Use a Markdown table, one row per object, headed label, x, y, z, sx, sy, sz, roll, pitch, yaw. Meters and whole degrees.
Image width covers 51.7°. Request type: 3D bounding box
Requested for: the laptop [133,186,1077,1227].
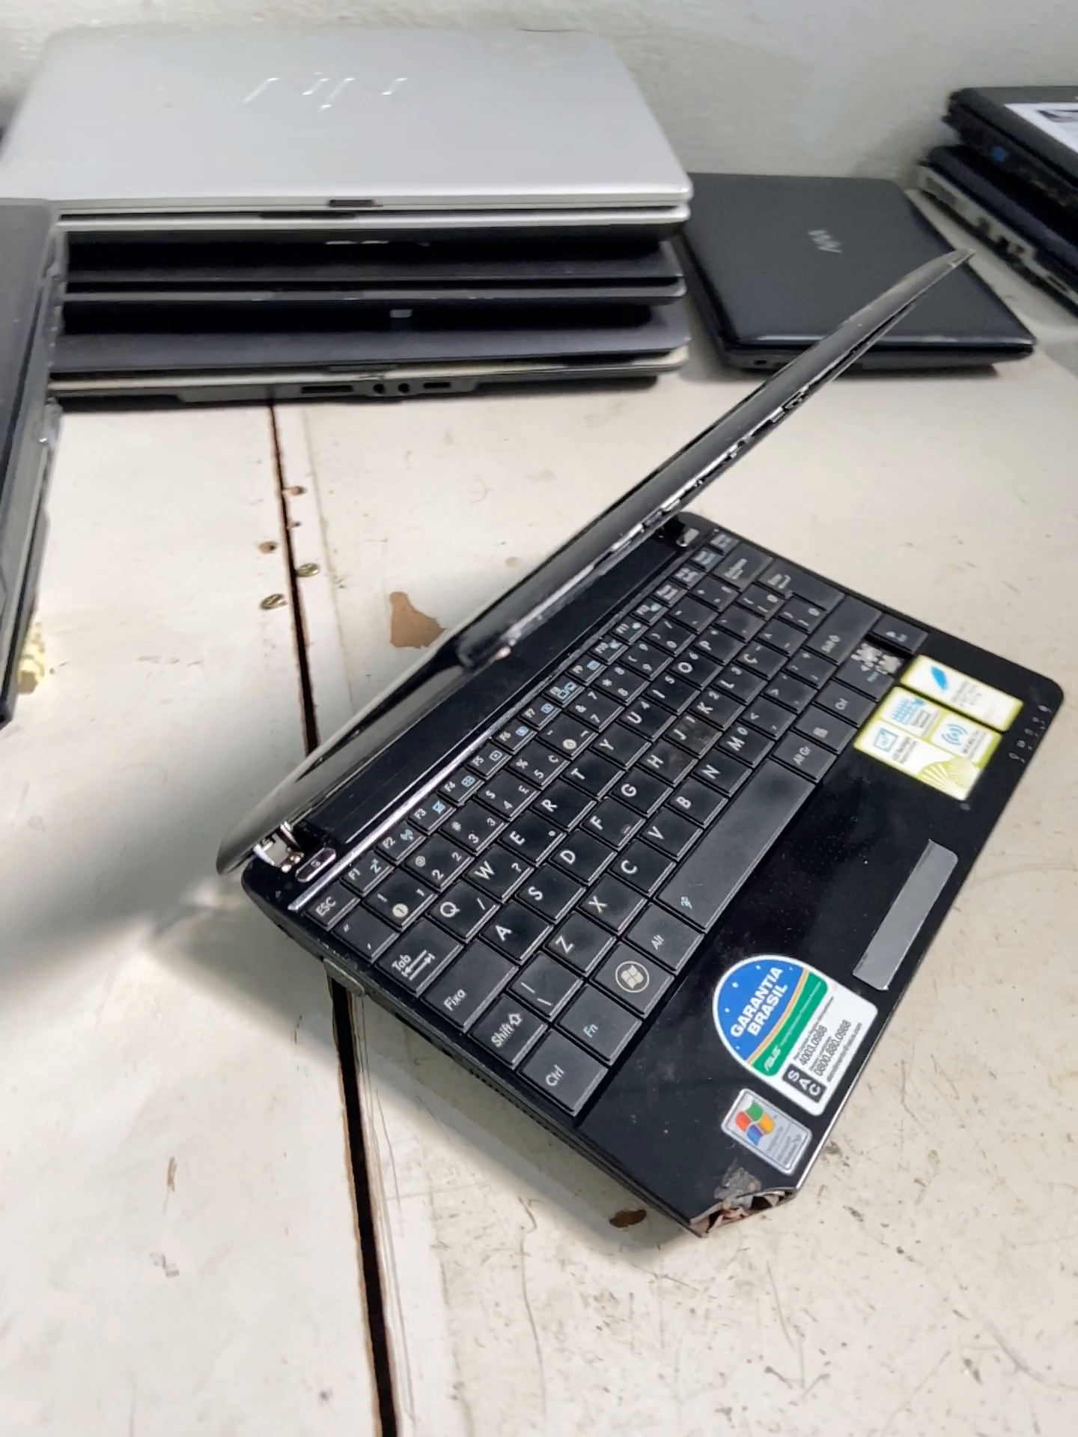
| label | x | y | z | sx | sy | sz | roll | pitch | yaw |
| --- | --- | --- | --- | --- | --- | --- | --- | --- | --- |
| laptop | 0.056 | -0.034 | 0.335 | 0.167 | 0.137 | 0.263 | 30 | 48 | 23 |
